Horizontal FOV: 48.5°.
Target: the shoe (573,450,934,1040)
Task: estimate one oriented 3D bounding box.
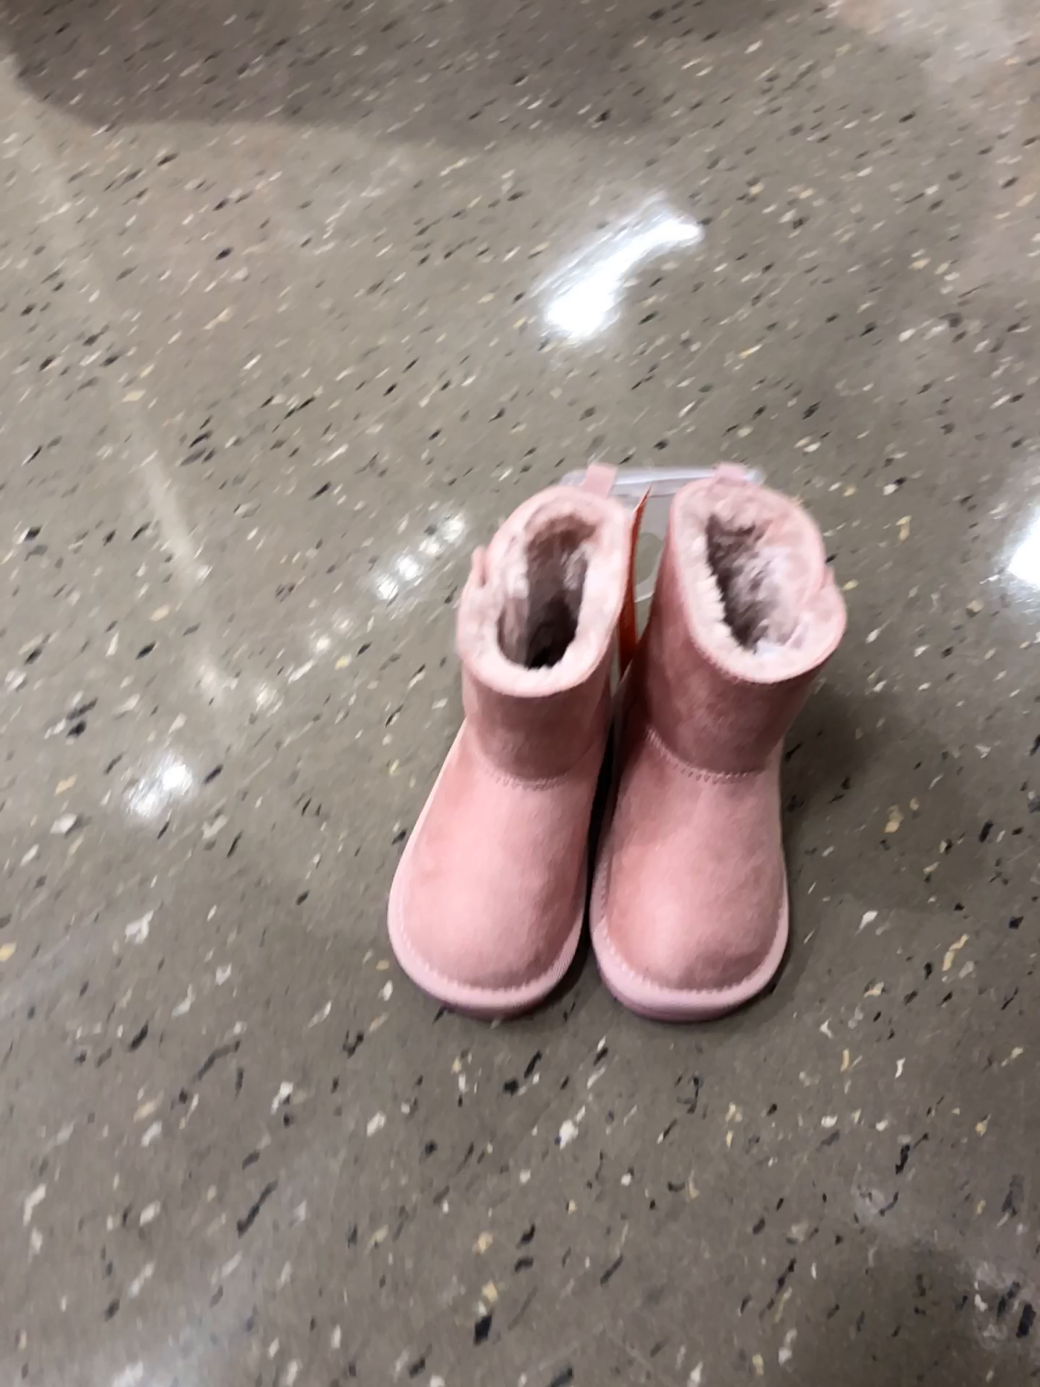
[{"bbox_3d":[0.069,0.024,0.425,0.090,0.150,0.160,2,56,0],"label":"shoe"}]

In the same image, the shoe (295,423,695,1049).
[{"bbox_3d":[-0.003,0.019,0.422,0.090,0.150,0.160,11,57,6],"label":"shoe"}]
